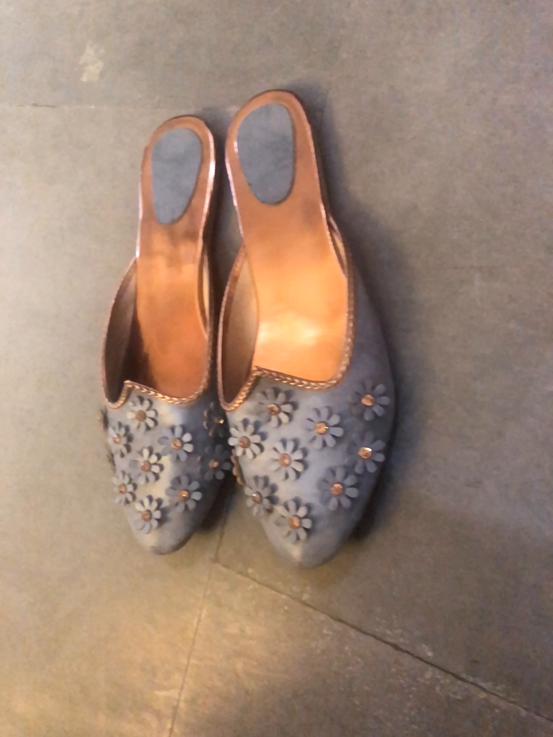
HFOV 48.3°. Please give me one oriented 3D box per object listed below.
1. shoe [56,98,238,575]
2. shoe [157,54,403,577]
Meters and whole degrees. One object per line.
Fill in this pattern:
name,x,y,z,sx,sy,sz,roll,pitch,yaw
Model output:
shoe,-0.082,-0.018,0.391,0.100,0.050,0.270,-5,82,29
shoe,-0.003,-0.026,0.355,0.100,0.050,0.270,-12,79,28
